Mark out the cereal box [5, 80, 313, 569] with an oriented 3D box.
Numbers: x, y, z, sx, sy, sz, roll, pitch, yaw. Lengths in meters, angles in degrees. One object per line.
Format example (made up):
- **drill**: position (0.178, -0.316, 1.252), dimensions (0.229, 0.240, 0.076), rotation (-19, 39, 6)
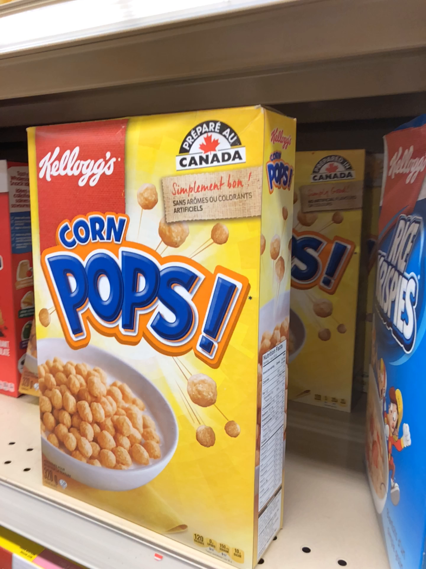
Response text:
- **cereal box**: position (-0.044, 0.023, 0.341), dimensions (0.210, 0.289, 0.060), rotation (6, 12, 29)
